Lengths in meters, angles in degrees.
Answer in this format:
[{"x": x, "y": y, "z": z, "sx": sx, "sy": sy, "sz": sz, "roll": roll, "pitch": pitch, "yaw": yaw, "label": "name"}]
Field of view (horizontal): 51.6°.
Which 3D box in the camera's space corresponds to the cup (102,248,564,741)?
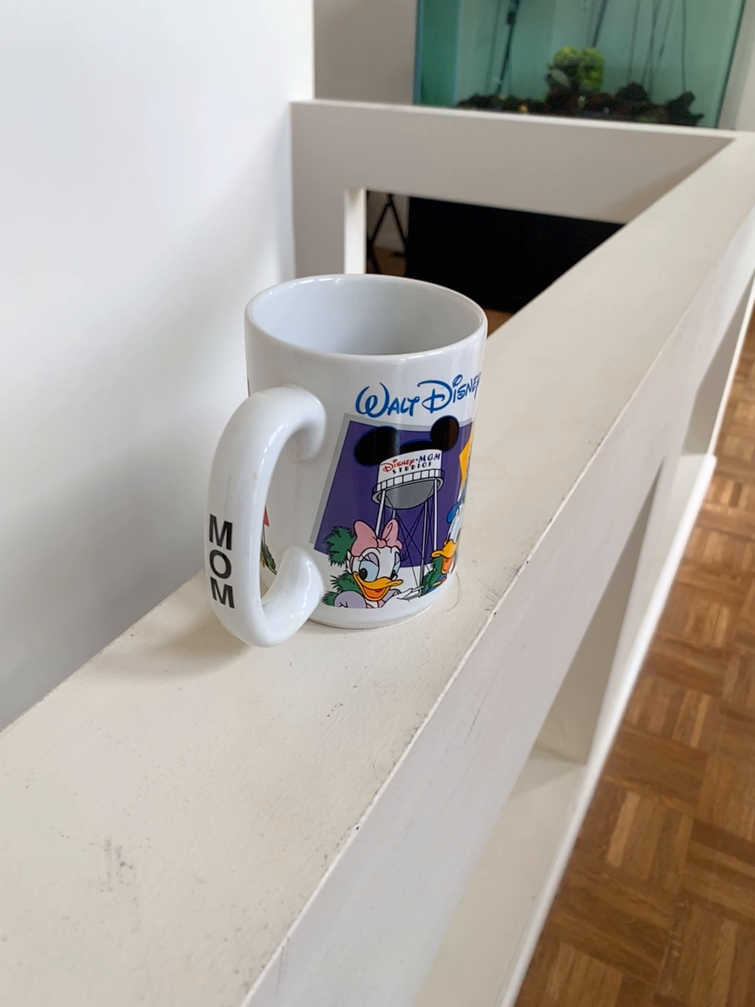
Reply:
[{"x": -0.007, "y": -0.016, "z": 0.281, "sx": 0.080, "sy": 0.109, "sz": 0.140, "roll": 21, "pitch": 37, "yaw": 28, "label": "cup"}]
